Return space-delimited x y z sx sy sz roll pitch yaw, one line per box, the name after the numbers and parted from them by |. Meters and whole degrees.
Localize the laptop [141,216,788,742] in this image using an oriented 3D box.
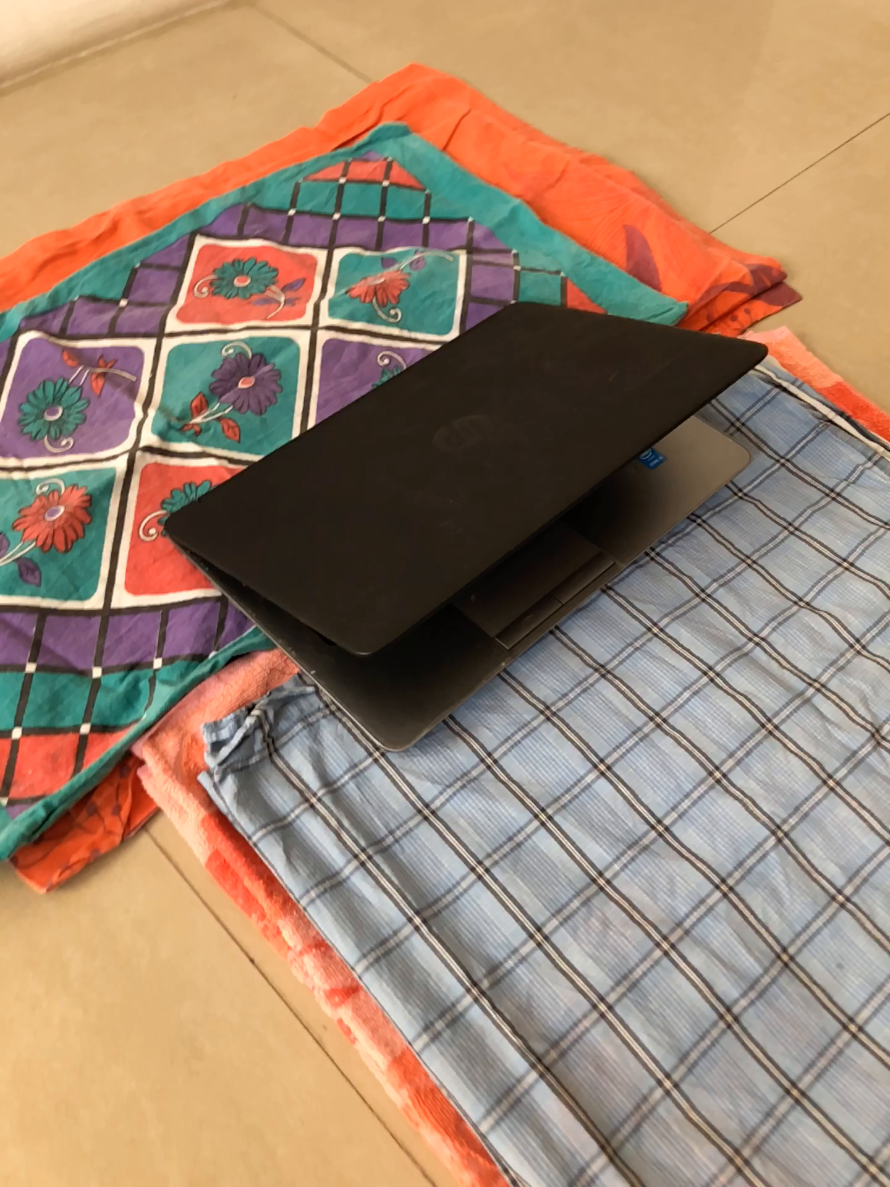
0.016 -0.093 0.609 0.323 0.099 0.212 -37 60 -26 | laptop
